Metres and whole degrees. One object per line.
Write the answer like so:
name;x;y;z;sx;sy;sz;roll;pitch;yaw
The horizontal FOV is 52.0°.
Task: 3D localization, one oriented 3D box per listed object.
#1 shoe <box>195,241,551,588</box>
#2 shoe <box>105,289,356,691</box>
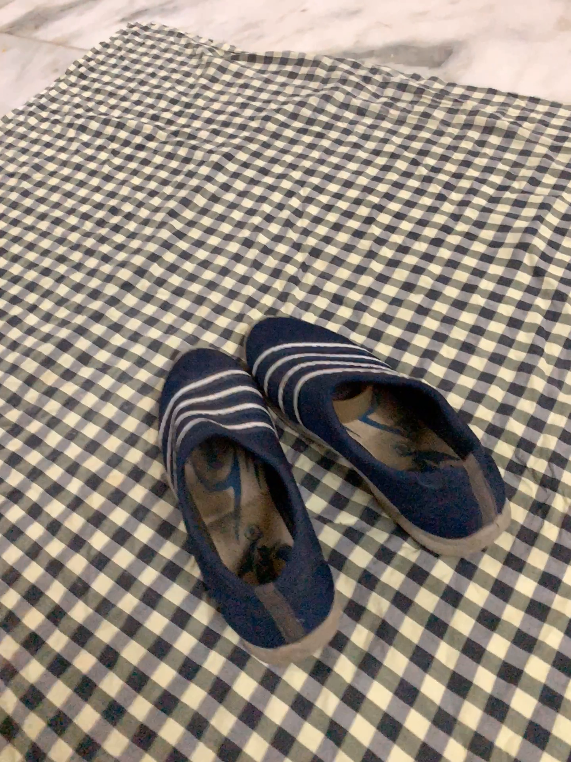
shoe;0.049;0.012;0.431;0.090;0.089;0.251;-36;57;-17
shoe;-0.045;0.065;0.419;0.090;0.099;0.251;-21;54;-7
